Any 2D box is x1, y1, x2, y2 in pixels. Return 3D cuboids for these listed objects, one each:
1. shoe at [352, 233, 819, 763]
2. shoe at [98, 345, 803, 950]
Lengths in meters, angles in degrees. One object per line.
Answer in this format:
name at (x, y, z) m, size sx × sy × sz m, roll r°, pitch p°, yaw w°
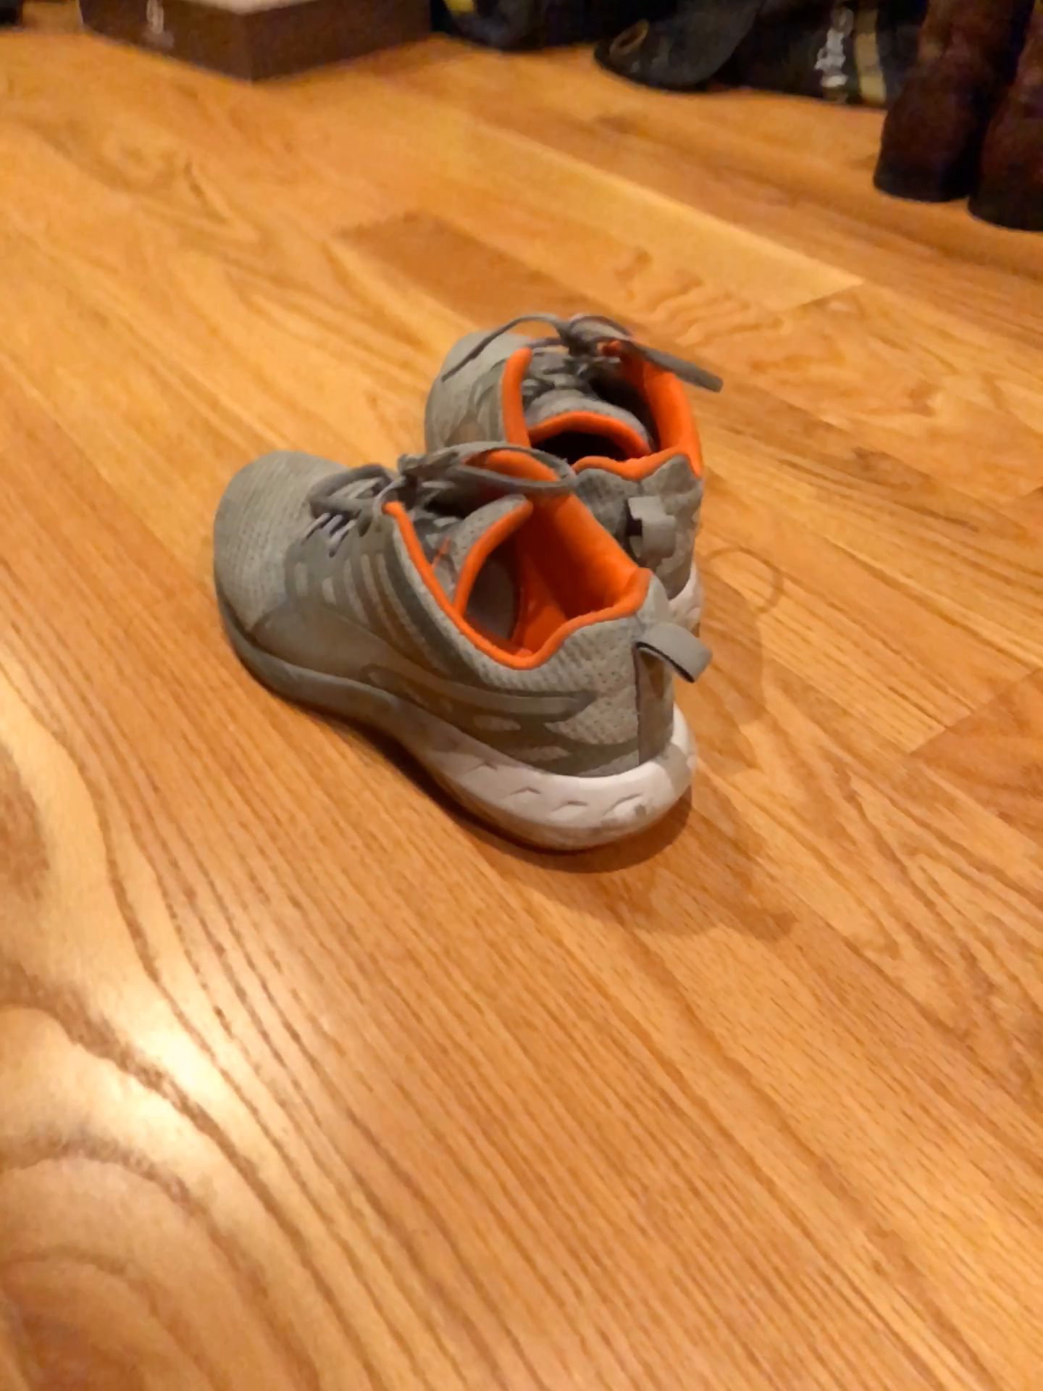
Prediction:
shoe at (0.011, -0.102, 0.501) m, size 0.100 × 0.099 × 0.251 m, roll -14°, pitch 44°, yaw -15°
shoe at (-0.037, -0.036, 0.429) m, size 0.110 × 0.079 × 0.251 m, roll -32°, pitch 51°, yaw -31°
